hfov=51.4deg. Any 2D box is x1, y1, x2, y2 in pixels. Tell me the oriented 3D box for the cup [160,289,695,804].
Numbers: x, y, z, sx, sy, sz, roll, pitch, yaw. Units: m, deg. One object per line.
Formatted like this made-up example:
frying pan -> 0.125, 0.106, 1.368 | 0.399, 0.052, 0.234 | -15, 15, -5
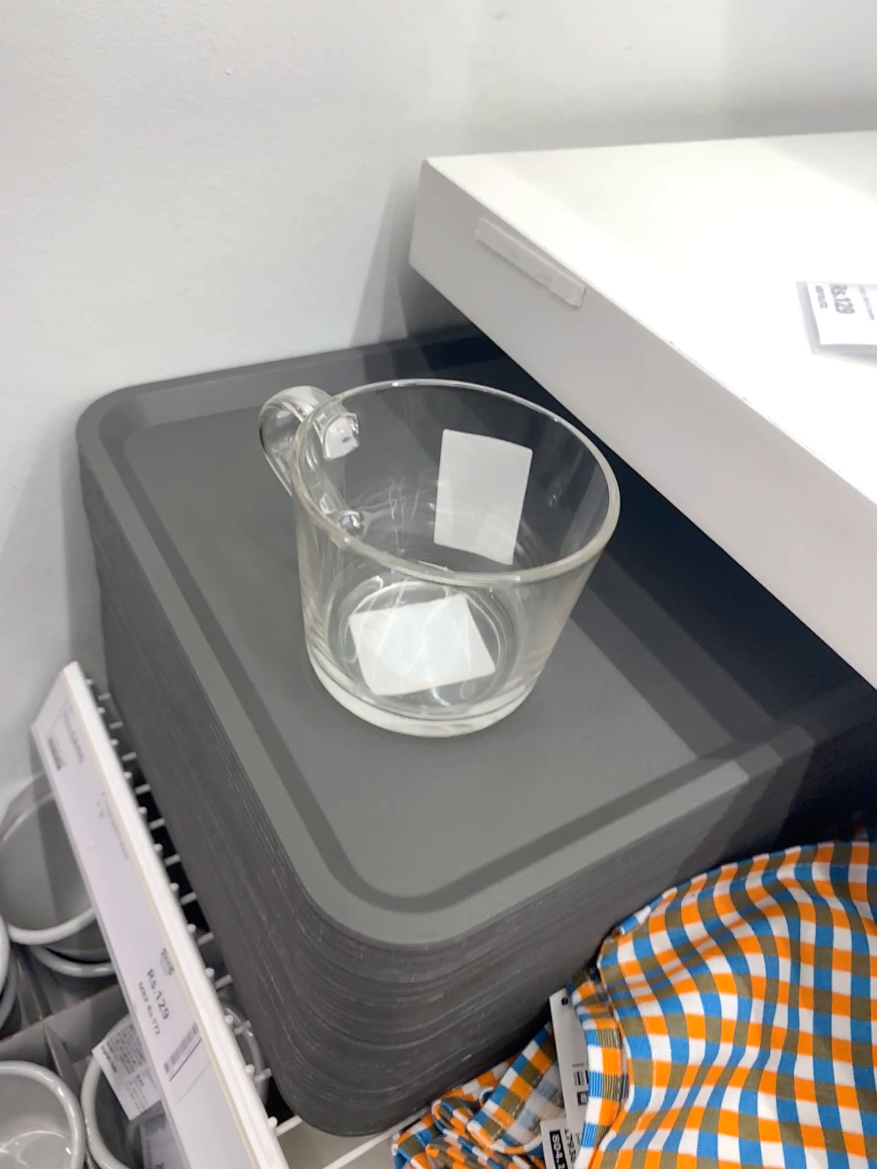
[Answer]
cup -> -0.010, -0.022, 0.297 | 0.100, 0.080, 0.130 | -26, 55, -34
